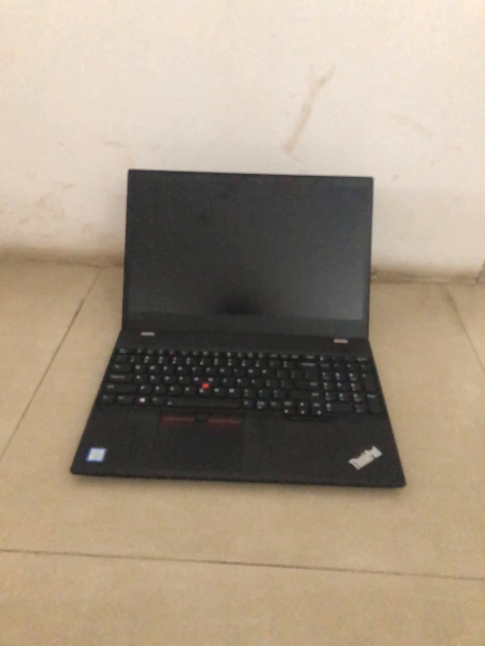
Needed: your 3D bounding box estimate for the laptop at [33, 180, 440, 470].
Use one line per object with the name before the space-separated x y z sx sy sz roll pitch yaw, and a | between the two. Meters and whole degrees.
laptop | -0.008 -0.024 0.657 0.344 0.192 0.364 3 32 -2
